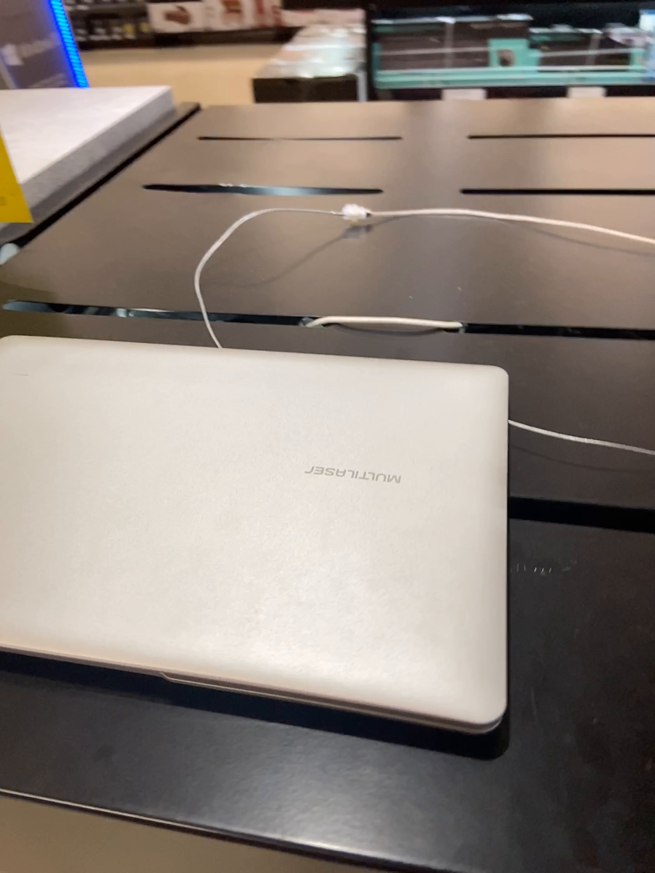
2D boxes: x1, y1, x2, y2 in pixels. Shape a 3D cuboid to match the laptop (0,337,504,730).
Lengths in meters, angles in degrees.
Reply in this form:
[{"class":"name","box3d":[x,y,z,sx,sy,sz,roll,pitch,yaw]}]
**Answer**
[{"class":"laptop","box3d":[-0.078,0.015,0.325,0.314,0.003,0.206,5,40,12]}]
